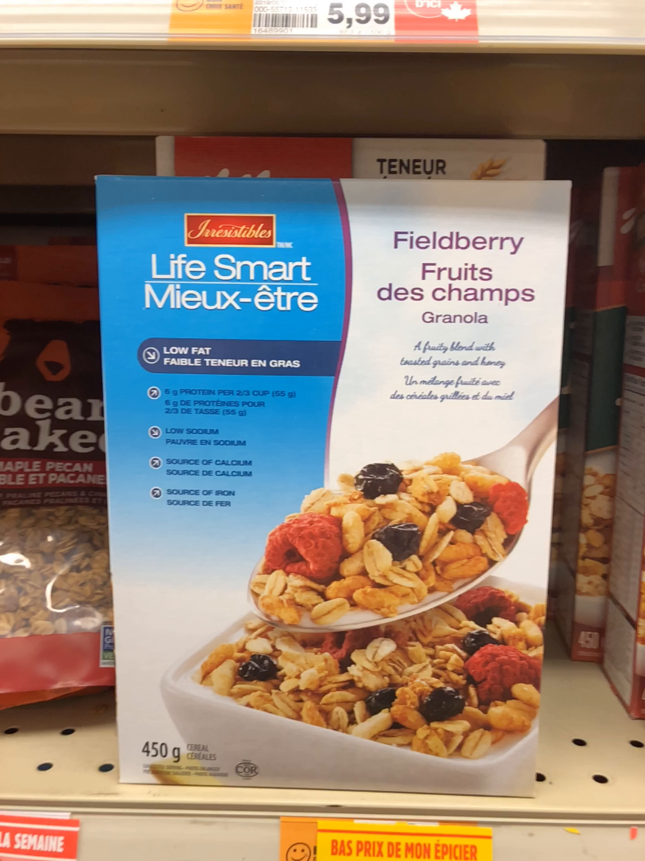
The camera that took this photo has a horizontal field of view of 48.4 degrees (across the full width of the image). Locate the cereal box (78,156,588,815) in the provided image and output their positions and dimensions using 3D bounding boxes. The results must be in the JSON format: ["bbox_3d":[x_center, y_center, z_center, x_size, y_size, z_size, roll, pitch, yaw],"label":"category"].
[{"bbox_3d":[0.002,0.023,0.283,0.170,0.239,0.050,1,9,2],"label":"cereal box"}]
